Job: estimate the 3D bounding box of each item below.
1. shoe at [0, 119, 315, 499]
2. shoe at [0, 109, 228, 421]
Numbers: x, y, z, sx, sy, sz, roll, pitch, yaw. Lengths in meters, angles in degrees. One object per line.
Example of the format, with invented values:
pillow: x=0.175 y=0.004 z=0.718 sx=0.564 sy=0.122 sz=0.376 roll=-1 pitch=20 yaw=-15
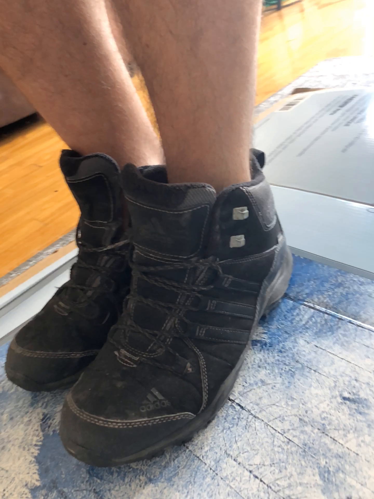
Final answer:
shoe: x=-0.006 y=0.028 z=0.349 sx=0.110 sy=0.169 sz=0.281 roll=12 pitch=44 yaw=37
shoe: x=-0.092 y=-0.008 z=0.430 sx=0.110 sy=0.169 sz=0.281 roll=12 pitch=44 yaw=37
